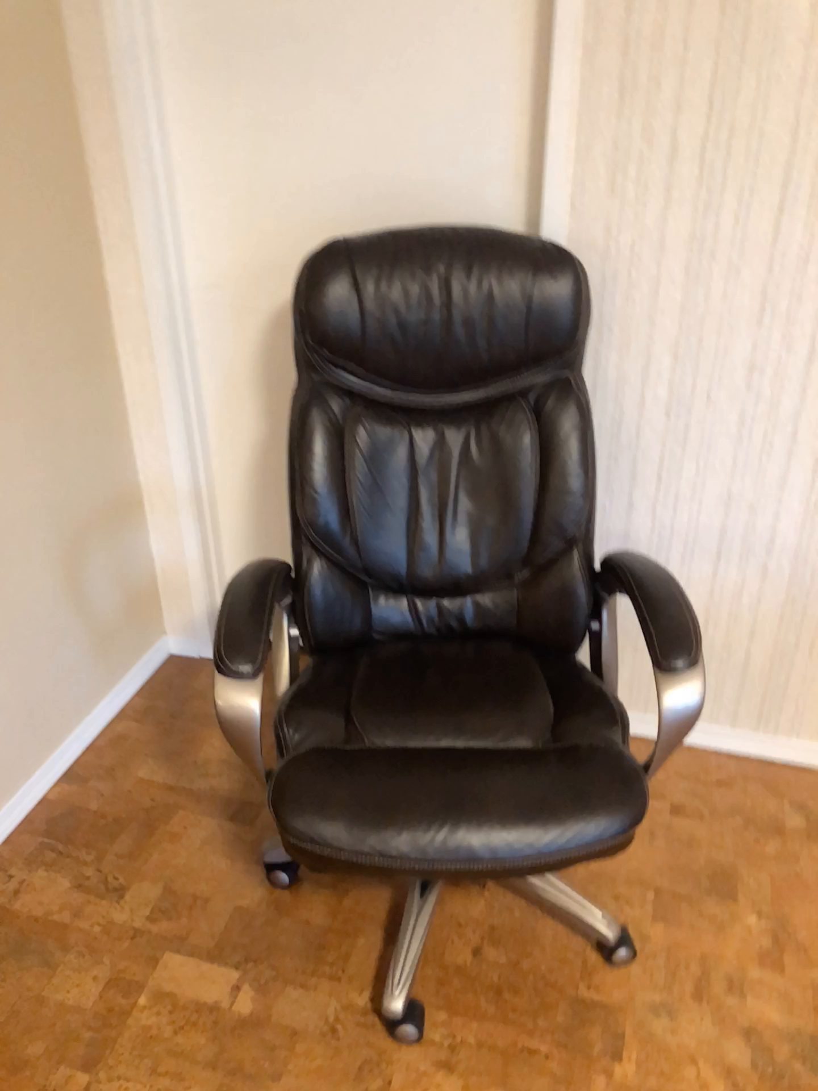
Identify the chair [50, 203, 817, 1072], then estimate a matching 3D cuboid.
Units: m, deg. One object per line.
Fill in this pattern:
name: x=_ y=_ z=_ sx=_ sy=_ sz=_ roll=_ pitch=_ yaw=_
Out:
chair: x=0.015 y=0.118 z=1.347 sx=0.690 sy=1.086 sz=0.652 roll=-2 pitch=29 yaw=-3
